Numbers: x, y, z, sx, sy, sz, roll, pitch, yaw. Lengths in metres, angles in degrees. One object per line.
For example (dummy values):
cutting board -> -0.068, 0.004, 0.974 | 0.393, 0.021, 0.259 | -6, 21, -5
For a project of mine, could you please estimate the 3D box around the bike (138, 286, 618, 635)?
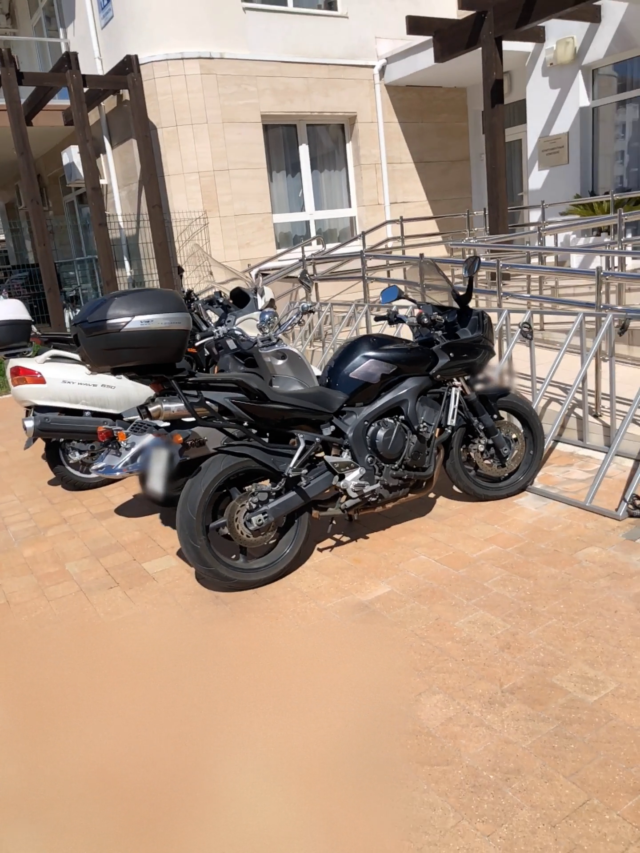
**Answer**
bike -> 0.369, 0.027, 3.109 | 1.920, 1.003, 0.606 | -15, 16, -28
